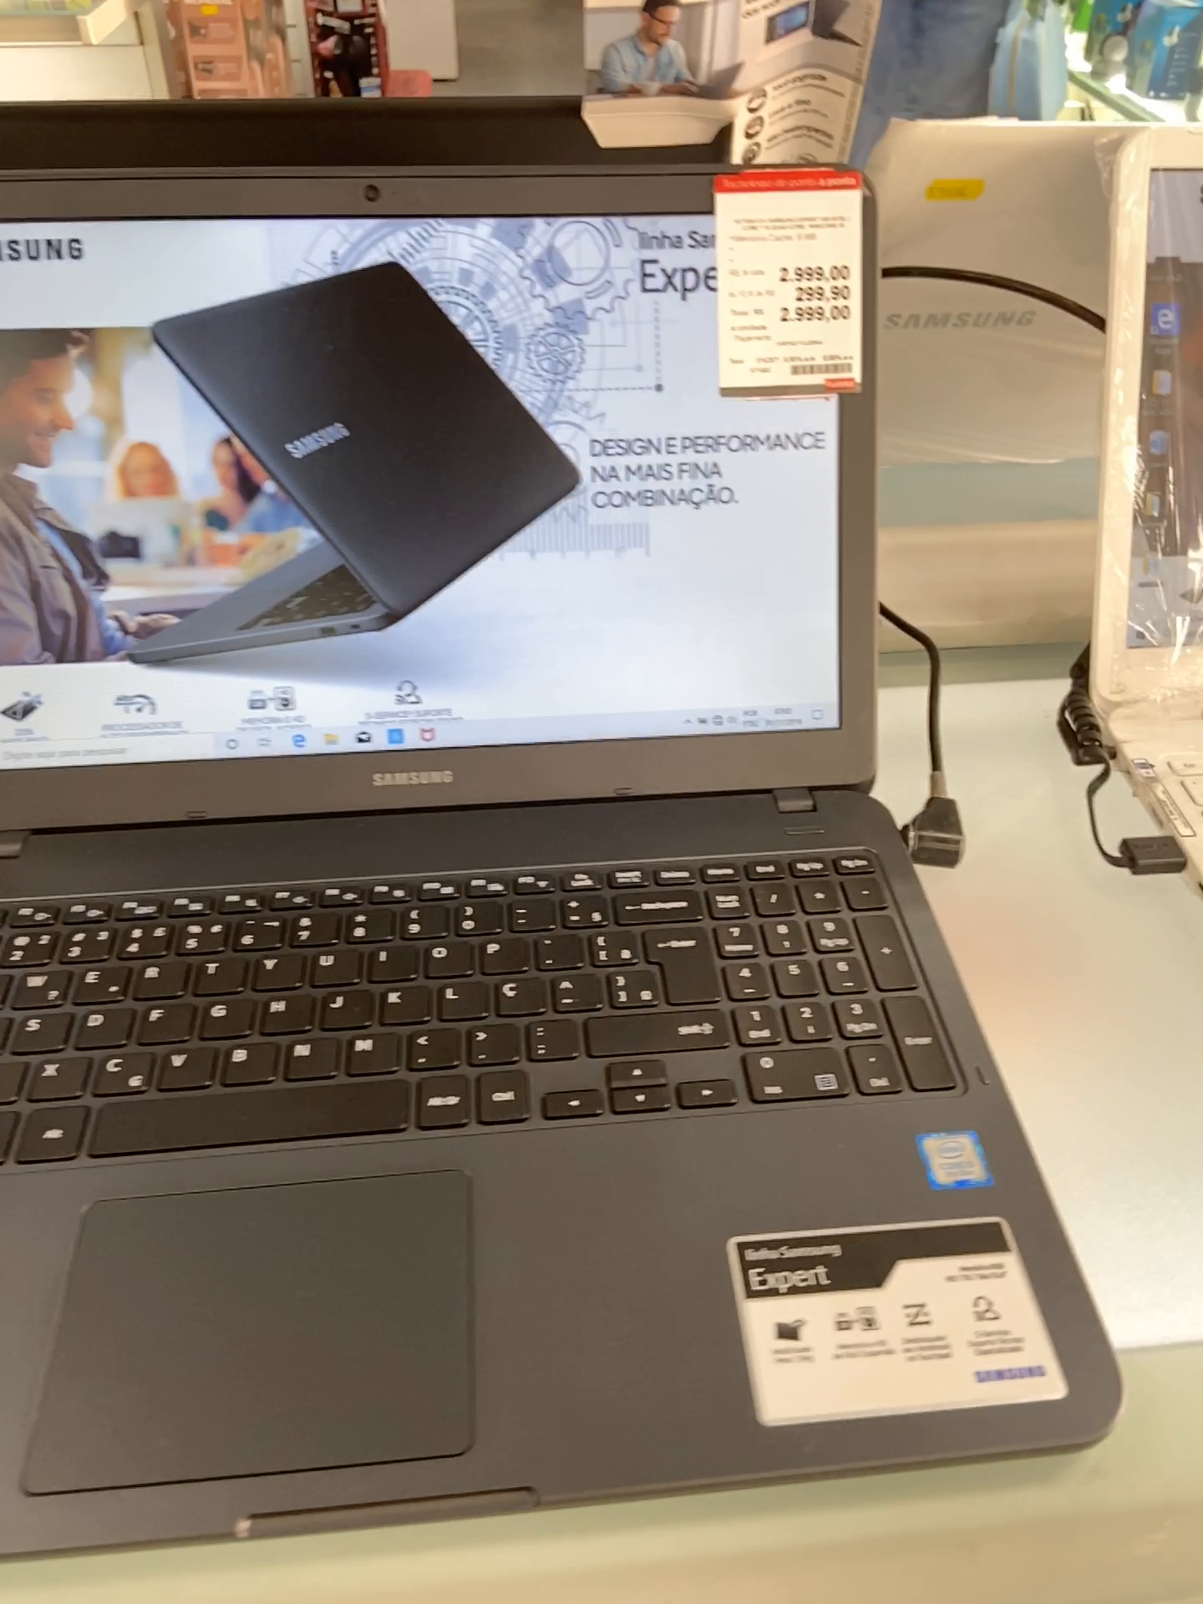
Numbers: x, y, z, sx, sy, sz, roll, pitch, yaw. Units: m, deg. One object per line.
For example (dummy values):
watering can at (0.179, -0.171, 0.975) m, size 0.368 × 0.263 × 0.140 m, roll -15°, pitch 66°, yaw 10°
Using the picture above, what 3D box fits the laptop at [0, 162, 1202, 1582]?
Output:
laptop at (-0.069, -0.029, 0.376) m, size 0.371 × 0.200 × 0.370 m, roll -3°, pitch 42°, yaw -4°
